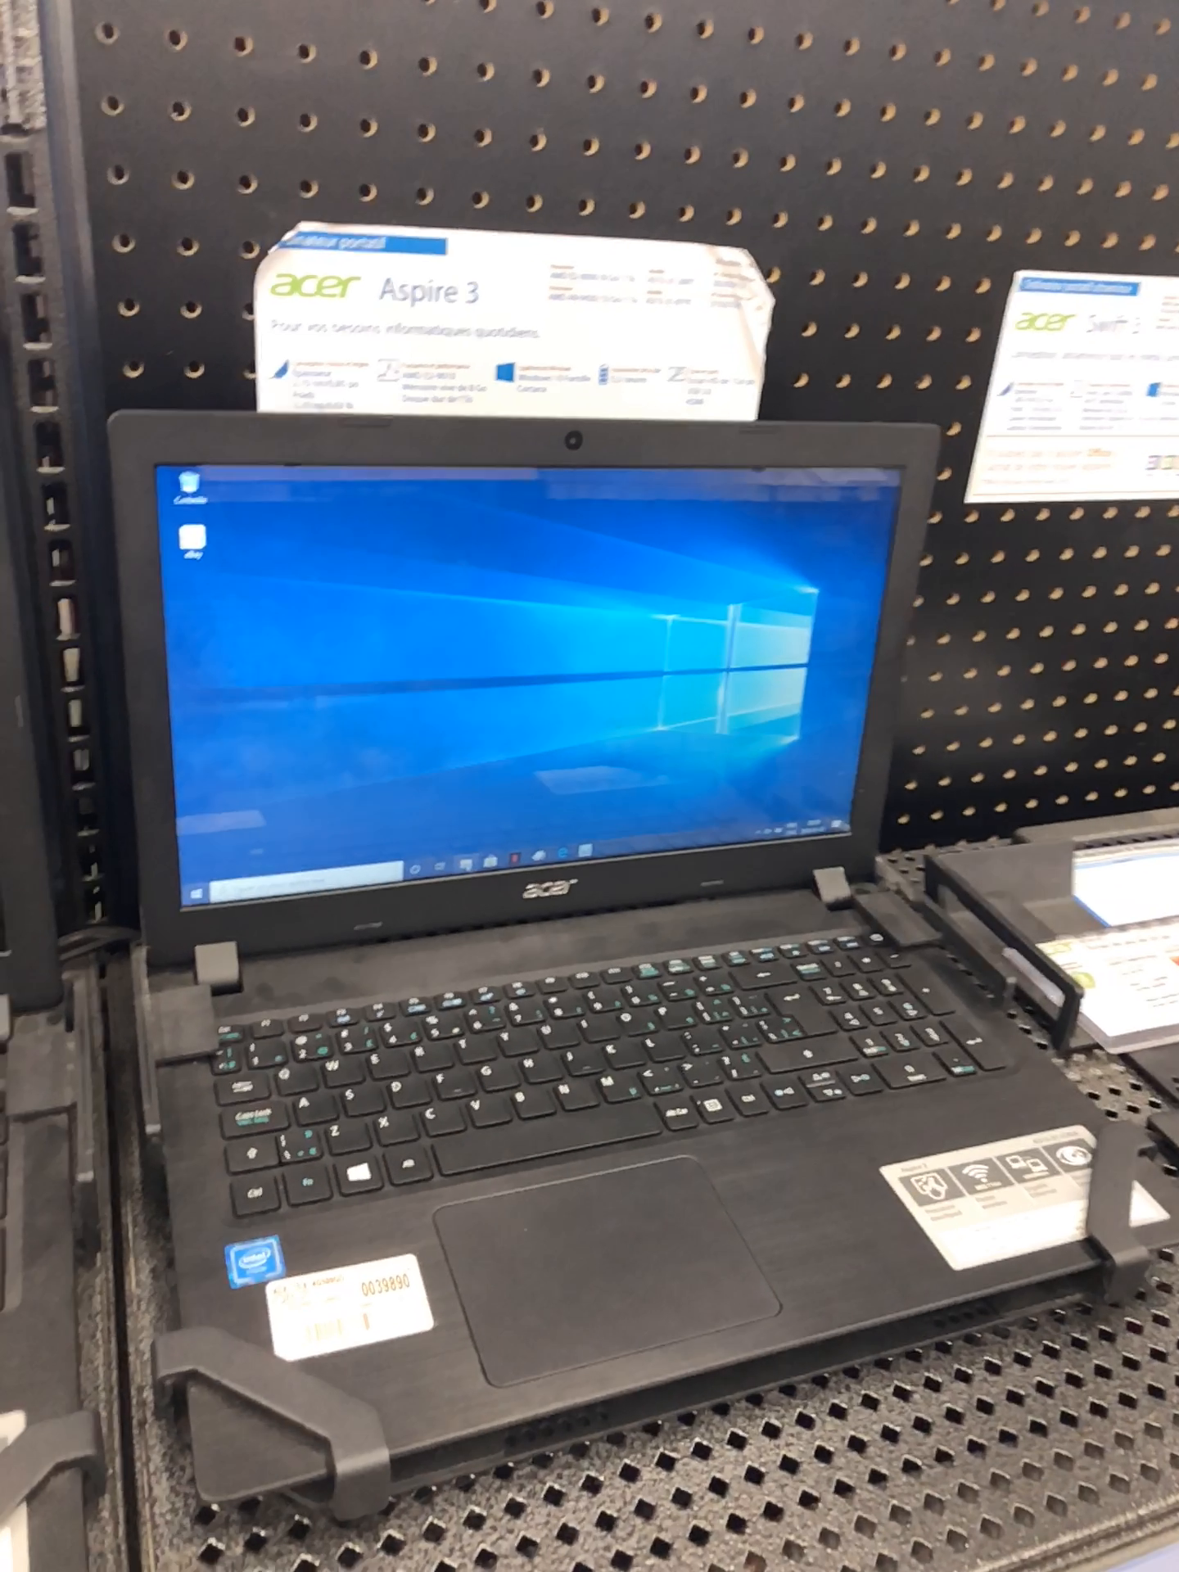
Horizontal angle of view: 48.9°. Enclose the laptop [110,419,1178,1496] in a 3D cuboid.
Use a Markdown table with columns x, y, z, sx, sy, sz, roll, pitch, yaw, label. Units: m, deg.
| x | y | z | sx | sy | sz | roll | pitch | yaw | label |
| --- | --- | --- | --- | --- | --- | --- | --- | --- | --- |
| 0.029 | 0.015 | 0.516 | 0.386 | 0.247 | 0.296 | -5 | 29 | -20 | laptop |
